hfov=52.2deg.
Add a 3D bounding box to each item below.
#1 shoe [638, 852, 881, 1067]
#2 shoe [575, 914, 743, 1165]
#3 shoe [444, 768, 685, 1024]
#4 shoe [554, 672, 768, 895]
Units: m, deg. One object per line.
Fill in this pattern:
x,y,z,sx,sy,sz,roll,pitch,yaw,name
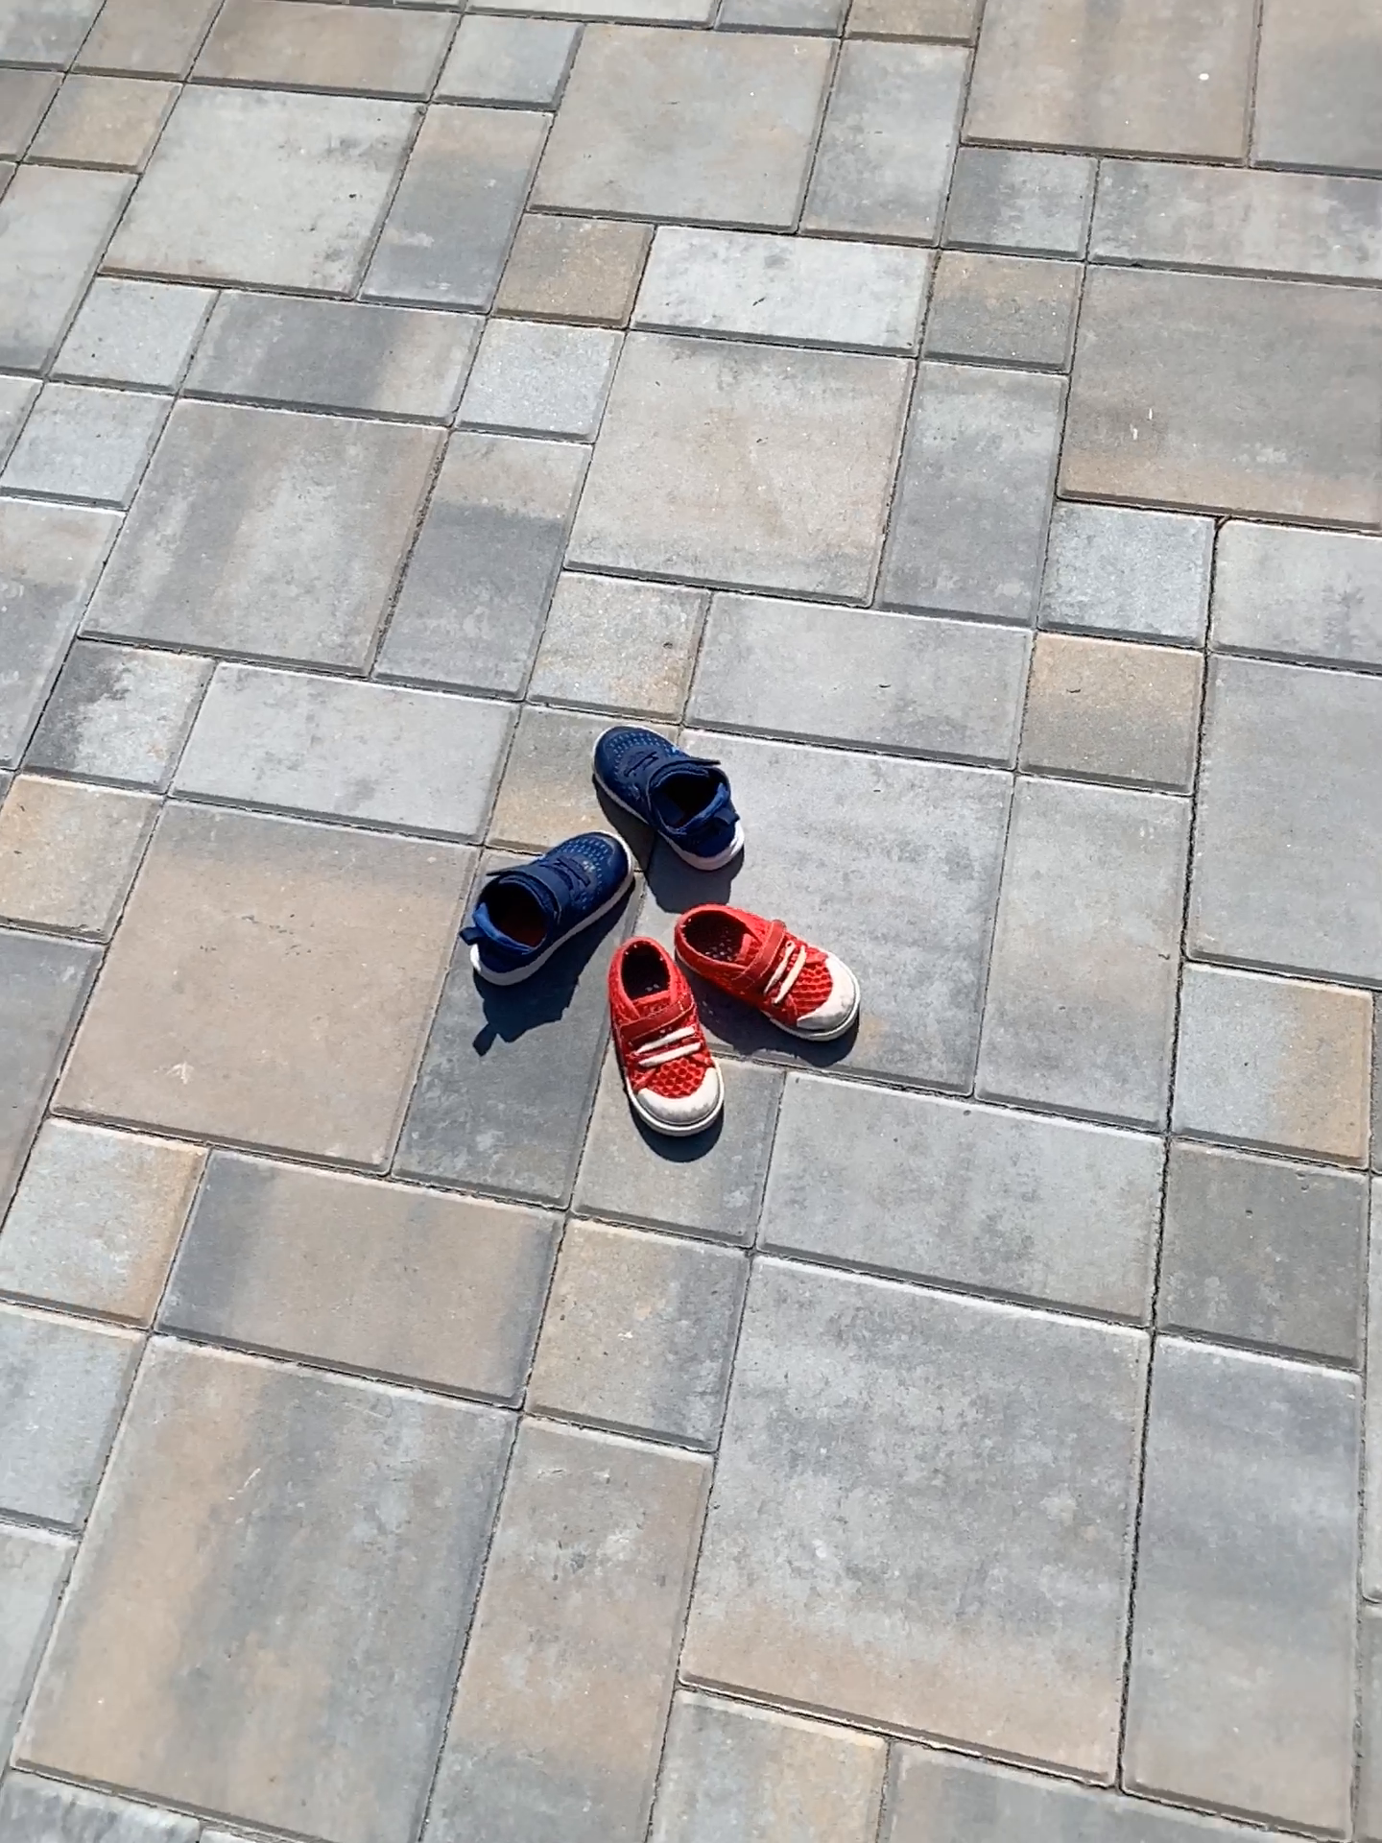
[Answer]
0.054,0.030,1.116,0.170,0.070,0.080,29,72,15,shoe
-0.026,0.094,1.123,0.080,0.070,0.170,-18,67,-4,shoe
-0.101,-0.021,1.180,0.090,0.090,0.180,39,75,17,shoe
-0.024,-0.117,1.190,0.080,0.070,0.170,-43,71,-13,shoe
